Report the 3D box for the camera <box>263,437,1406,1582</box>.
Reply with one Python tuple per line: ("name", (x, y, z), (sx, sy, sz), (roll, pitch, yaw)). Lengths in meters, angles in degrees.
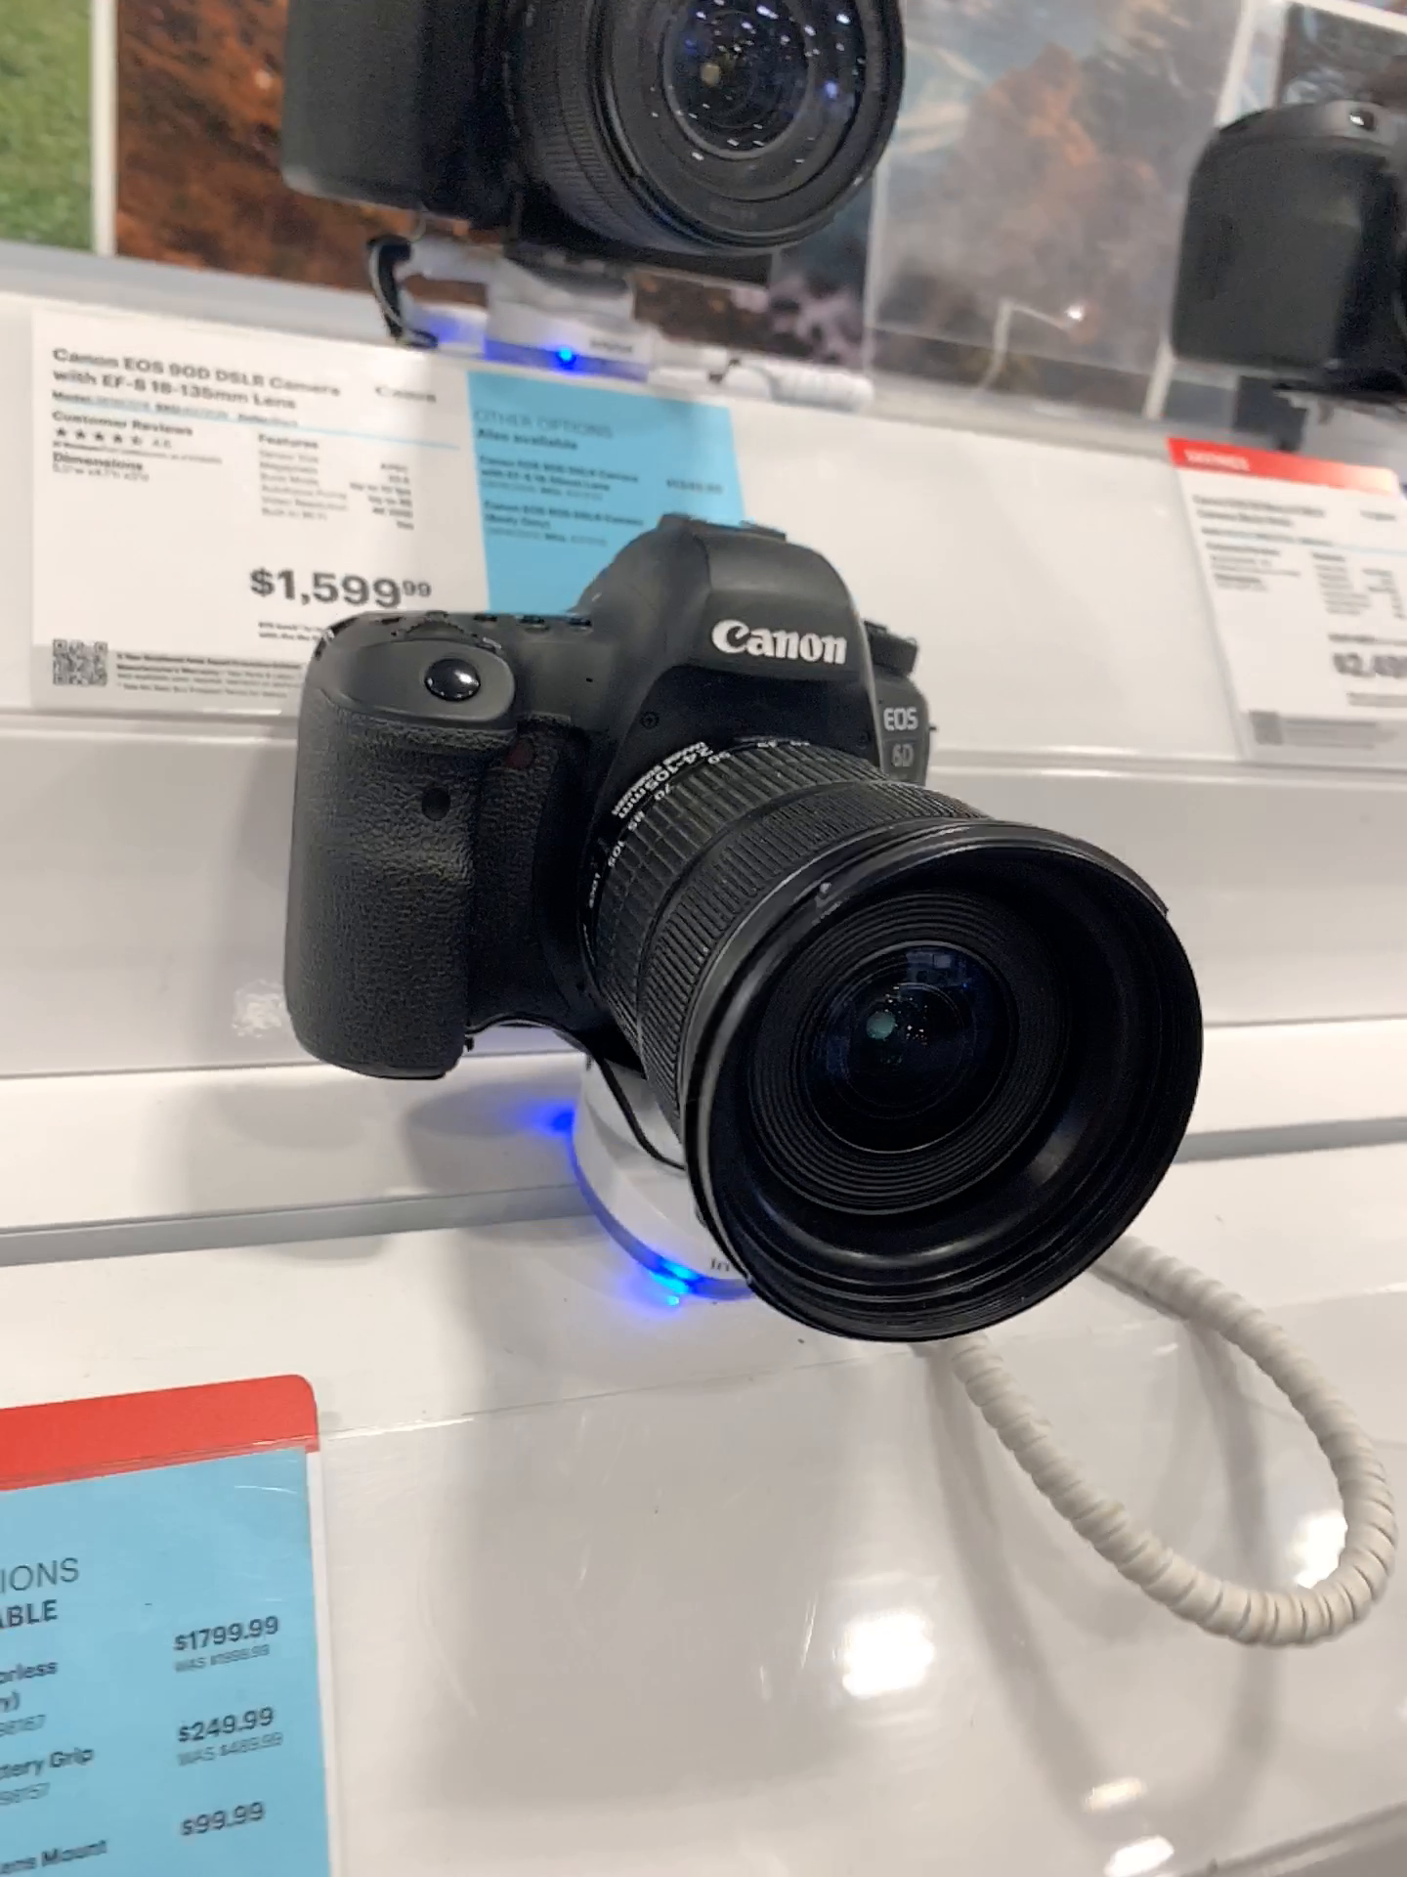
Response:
("camera", (-0.001, -0.010, 0.270), (0.137, 0.123, 0.180), (-1, 24, -21))
